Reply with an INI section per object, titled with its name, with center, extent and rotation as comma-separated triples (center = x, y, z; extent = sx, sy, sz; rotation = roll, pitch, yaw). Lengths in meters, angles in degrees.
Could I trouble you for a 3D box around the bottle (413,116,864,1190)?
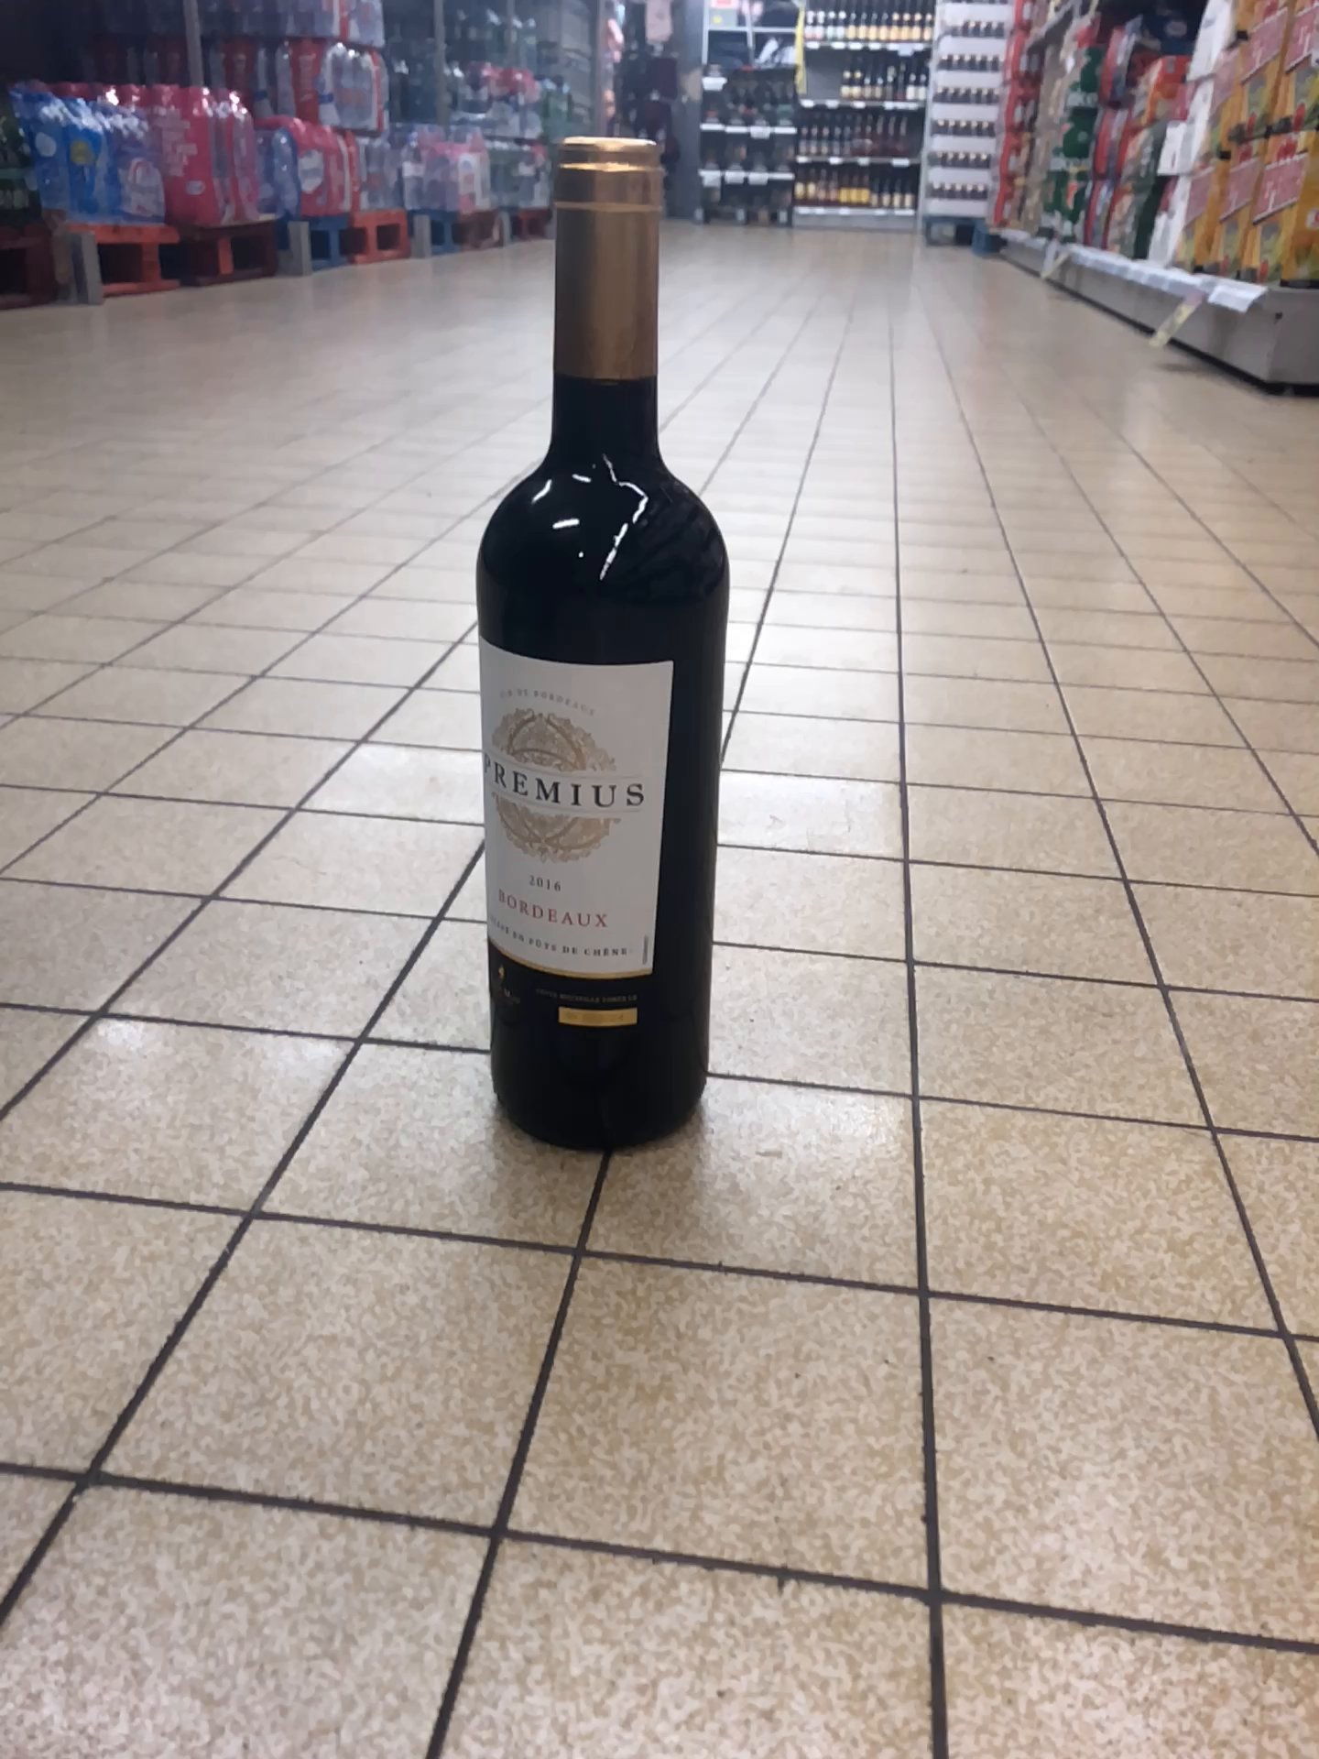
[bottle]
center = -0.008, -0.061, 0.431
extent = 0.090, 0.288, 0.081
rotation = 13, 26, 22
